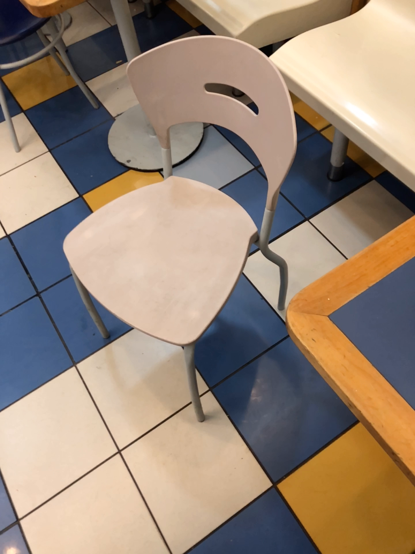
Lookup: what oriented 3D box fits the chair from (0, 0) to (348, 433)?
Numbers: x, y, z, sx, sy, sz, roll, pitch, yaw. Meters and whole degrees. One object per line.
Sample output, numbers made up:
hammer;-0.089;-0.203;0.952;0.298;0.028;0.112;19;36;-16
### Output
chair;-0.070;-0.062;1.053;0.451;0.796;0.471;37;70;24
